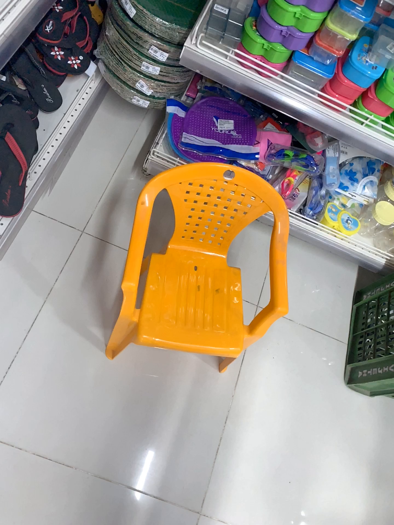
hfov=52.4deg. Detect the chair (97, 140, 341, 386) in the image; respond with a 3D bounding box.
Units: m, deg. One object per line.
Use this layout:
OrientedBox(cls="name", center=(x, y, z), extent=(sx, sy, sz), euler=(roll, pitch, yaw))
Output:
OrientedBox(cls="chair", center=(0.012, 0.054, 0.924), extent=(0.400, 0.460, 0.360), euler=(11, 66, -11))
